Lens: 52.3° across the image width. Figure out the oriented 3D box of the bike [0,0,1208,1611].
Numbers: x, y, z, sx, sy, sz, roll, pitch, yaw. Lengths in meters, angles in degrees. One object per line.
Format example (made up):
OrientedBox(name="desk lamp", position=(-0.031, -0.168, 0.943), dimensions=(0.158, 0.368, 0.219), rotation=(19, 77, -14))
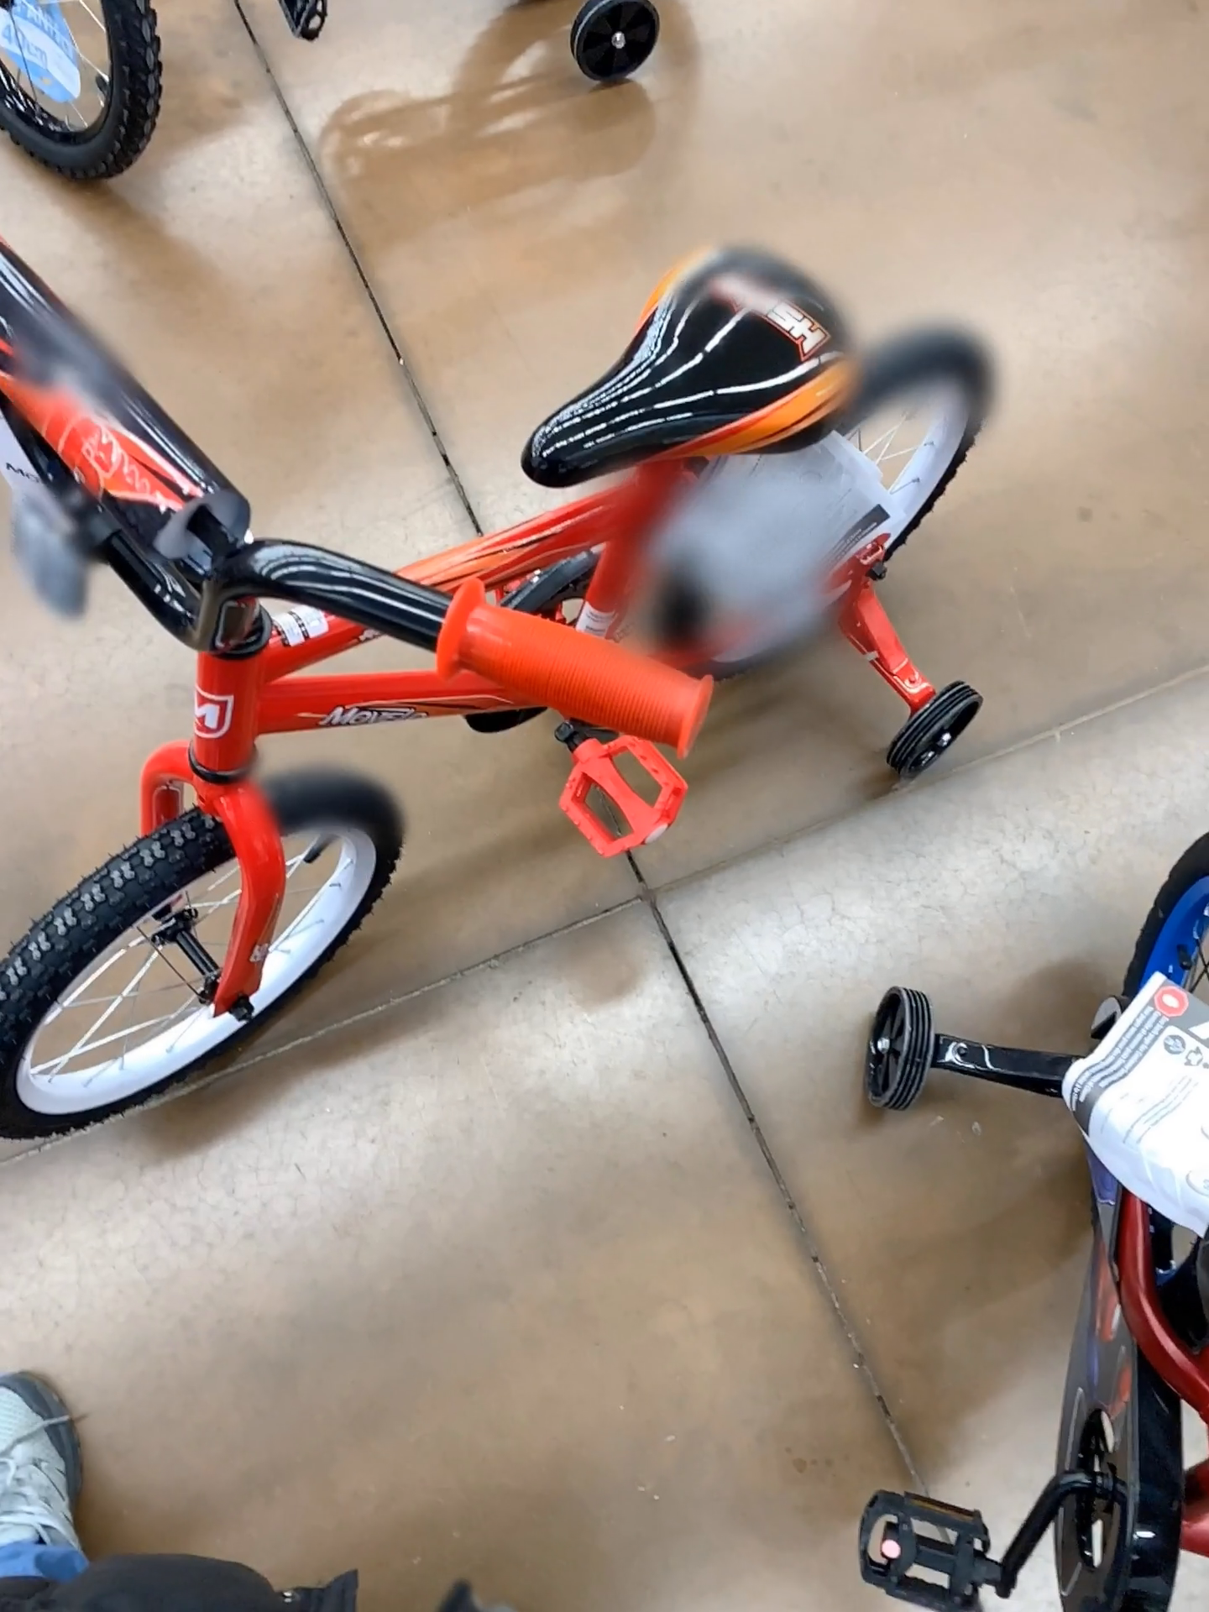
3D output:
OrientedBox(name="bike", position=(-0.021, -0.136, 0.882), dimensions=(1.069, 0.852, 0.586), rotation=(-37, 73, -16))
